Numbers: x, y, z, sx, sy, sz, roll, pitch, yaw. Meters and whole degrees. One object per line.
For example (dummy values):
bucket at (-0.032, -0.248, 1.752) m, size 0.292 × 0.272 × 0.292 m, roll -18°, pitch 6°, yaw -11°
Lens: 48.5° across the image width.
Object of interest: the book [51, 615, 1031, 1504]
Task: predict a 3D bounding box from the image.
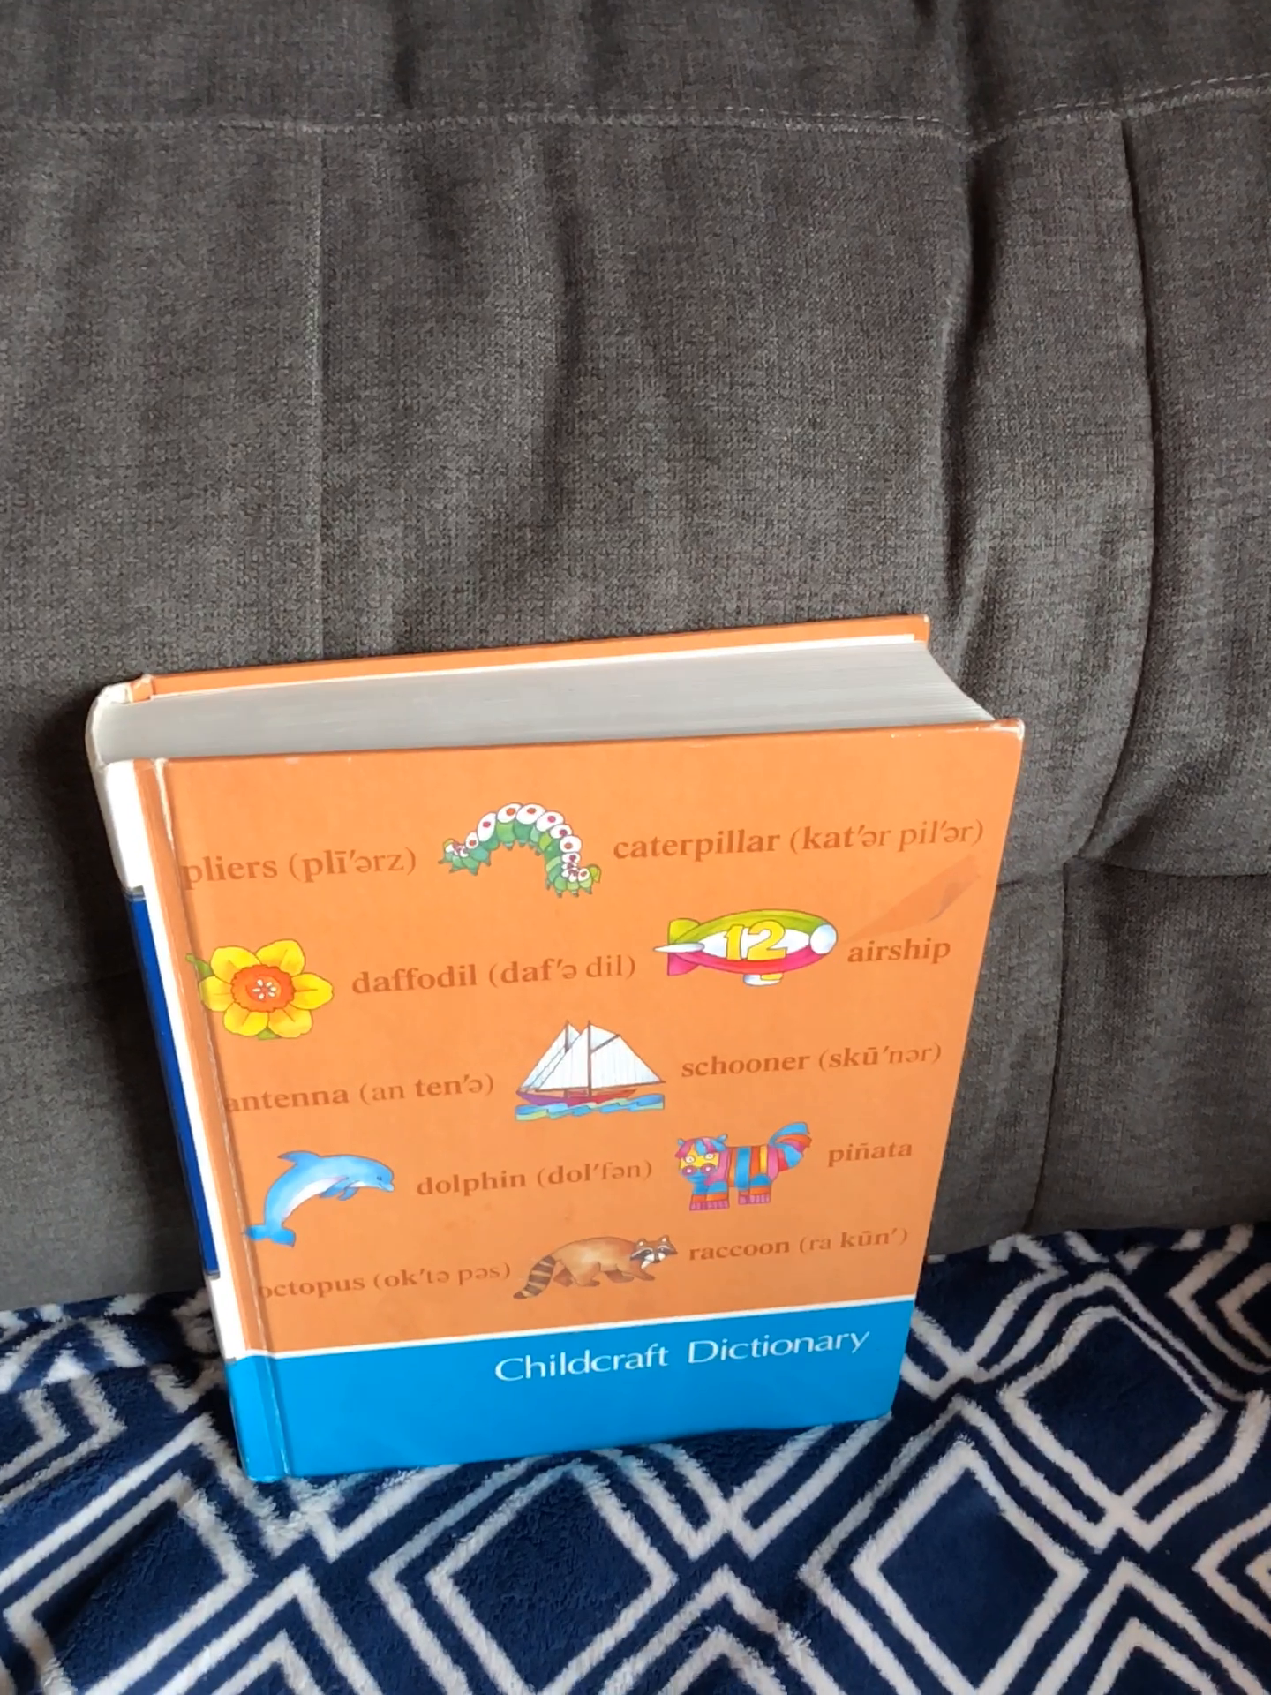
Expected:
book at (-0.022, 0.071, 0.395) m, size 0.210 × 0.260 × 0.055 m, roll -3°, pitch 34°, yaw -7°
